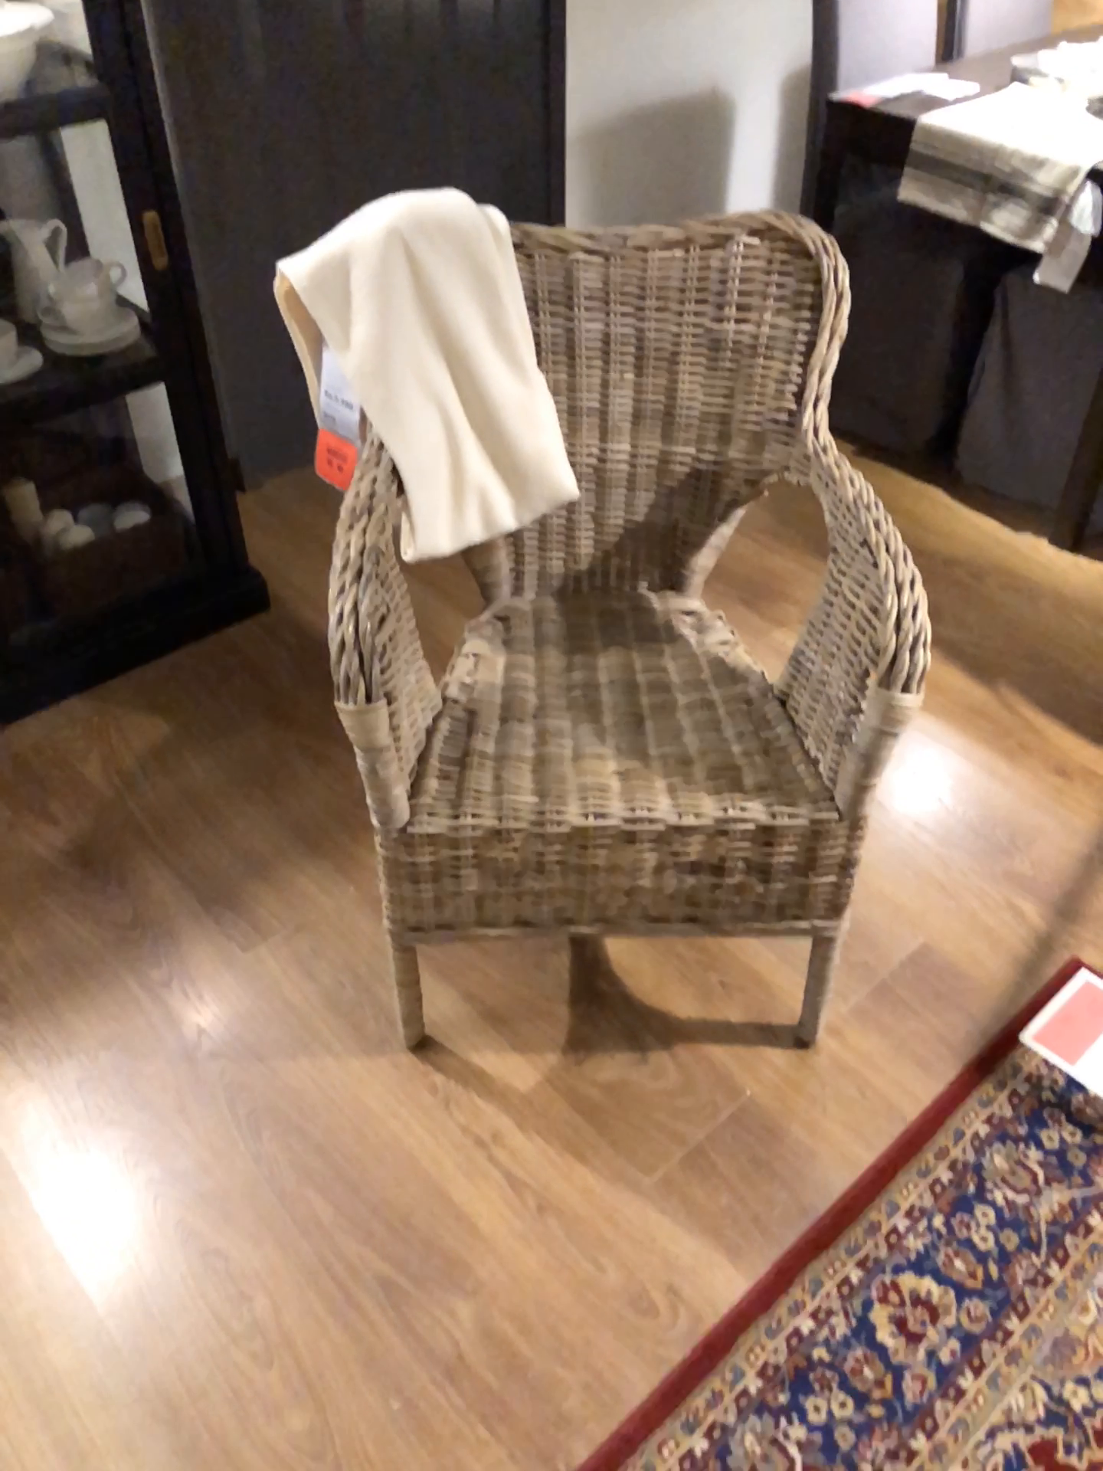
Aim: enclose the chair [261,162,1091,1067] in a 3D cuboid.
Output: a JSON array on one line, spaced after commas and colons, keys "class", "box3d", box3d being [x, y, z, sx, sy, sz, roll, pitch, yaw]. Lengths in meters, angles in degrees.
[{"class": "chair", "box3d": [0.083, -0.136, 1.404, 0.620, 0.815, 0.634, -1, 41, -2]}]
